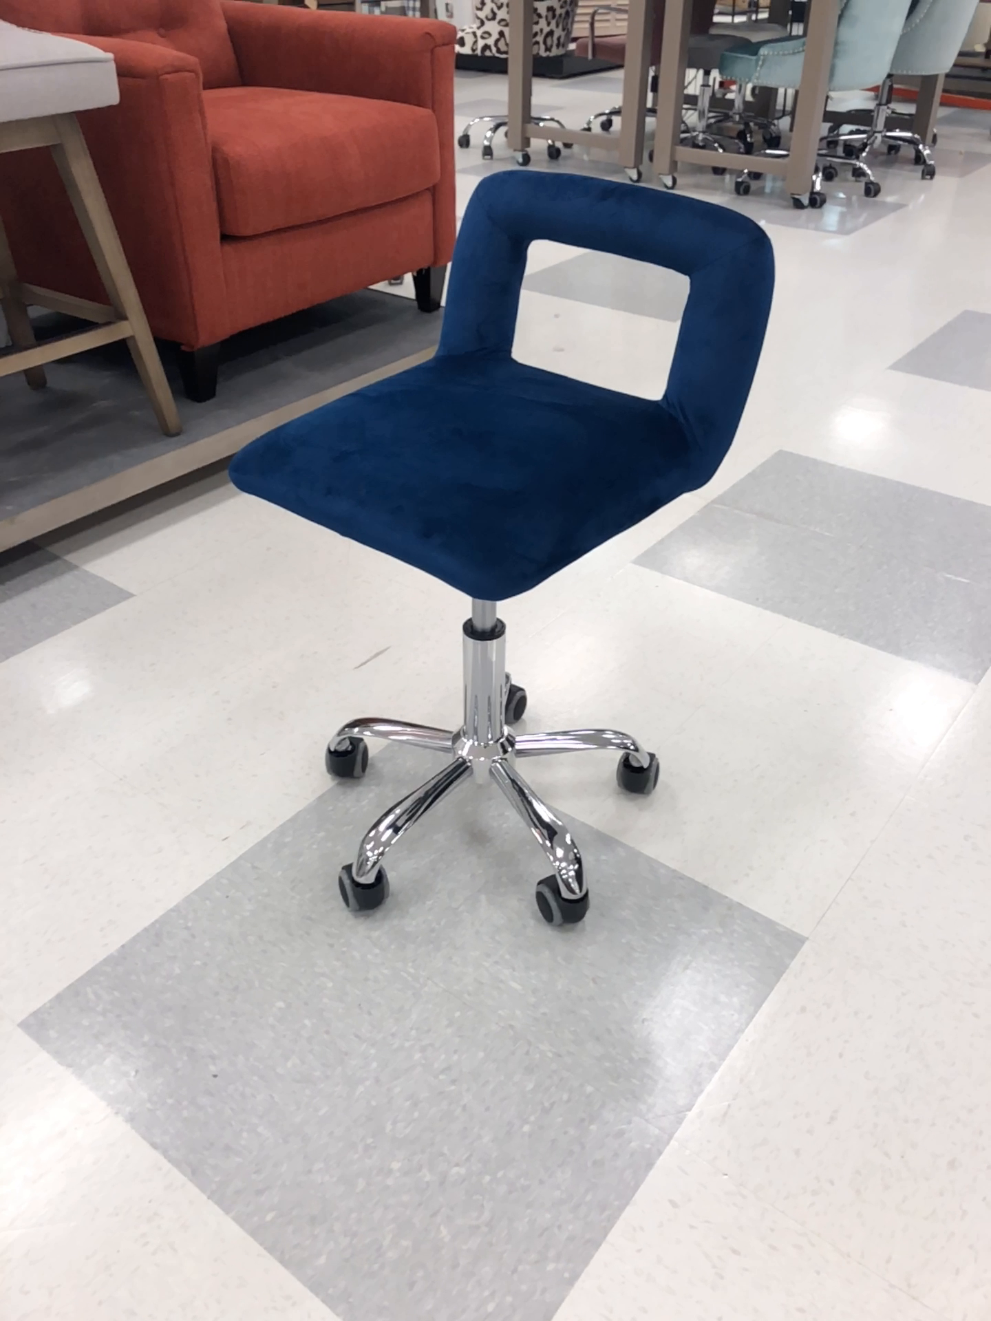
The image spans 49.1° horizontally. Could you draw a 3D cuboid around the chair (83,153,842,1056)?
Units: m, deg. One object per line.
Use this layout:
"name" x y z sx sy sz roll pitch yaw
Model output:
"chair" -0.010 -0.099 1.174 0.448 0.719 0.531 24 40 32
